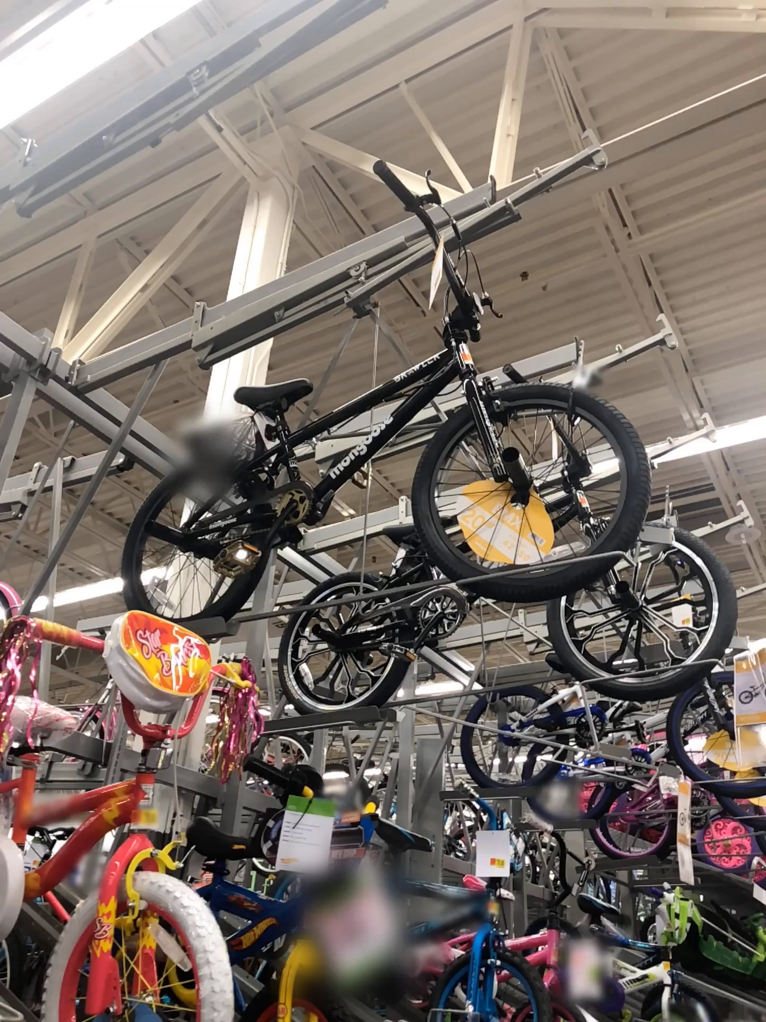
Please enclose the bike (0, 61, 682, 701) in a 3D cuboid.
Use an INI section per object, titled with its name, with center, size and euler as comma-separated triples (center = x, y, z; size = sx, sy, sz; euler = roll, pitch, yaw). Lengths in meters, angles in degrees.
[bike]
center = -0.135, -0.171, 1.967
size = 1.352, 0.909, 0.750
euler = -13, -33, 26
